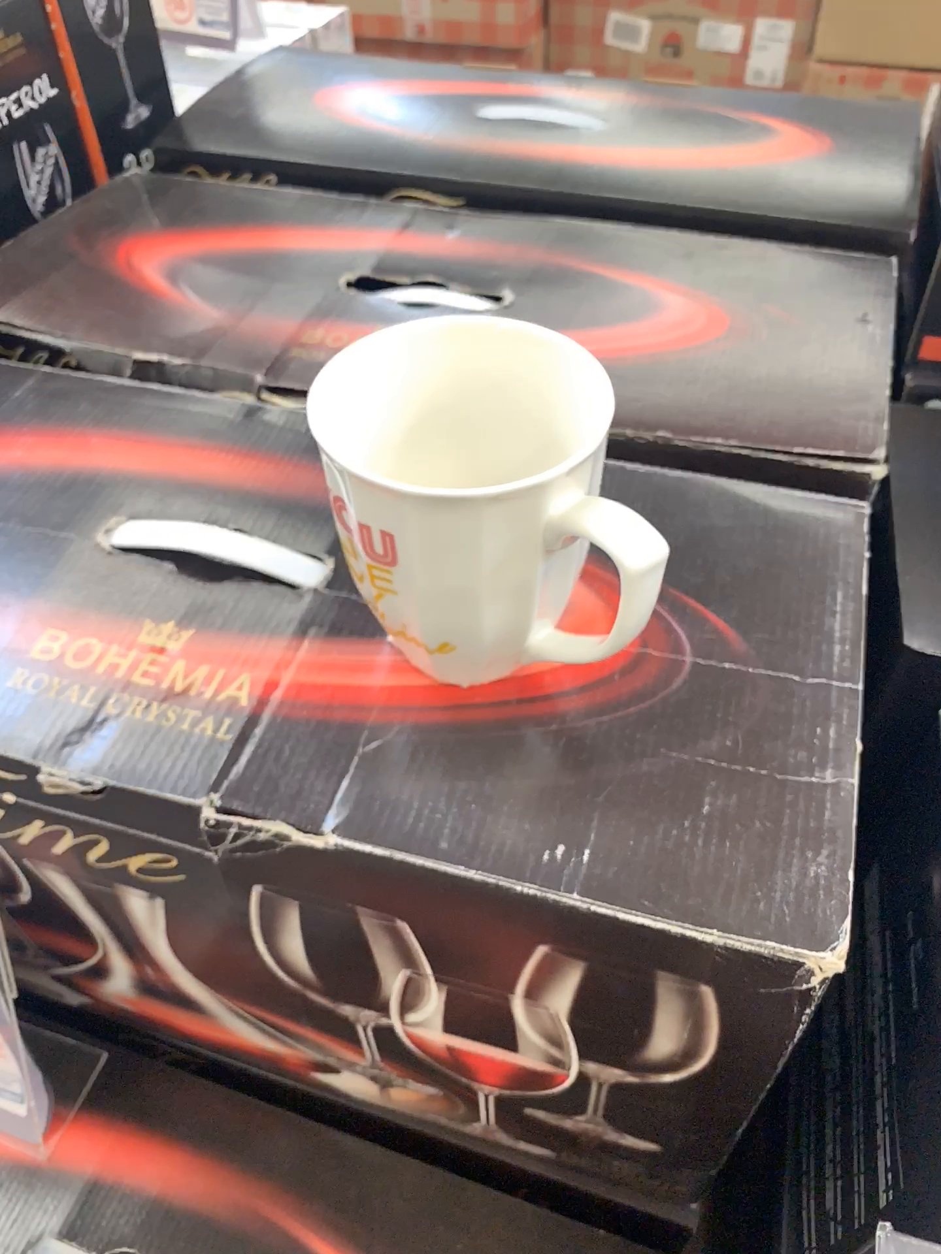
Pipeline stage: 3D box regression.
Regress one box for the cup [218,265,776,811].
[{"bbox_3d":[0.004,-0.032,0.288,0.090,0.080,0.120,-33,54,-26],"label":"cup"}]
